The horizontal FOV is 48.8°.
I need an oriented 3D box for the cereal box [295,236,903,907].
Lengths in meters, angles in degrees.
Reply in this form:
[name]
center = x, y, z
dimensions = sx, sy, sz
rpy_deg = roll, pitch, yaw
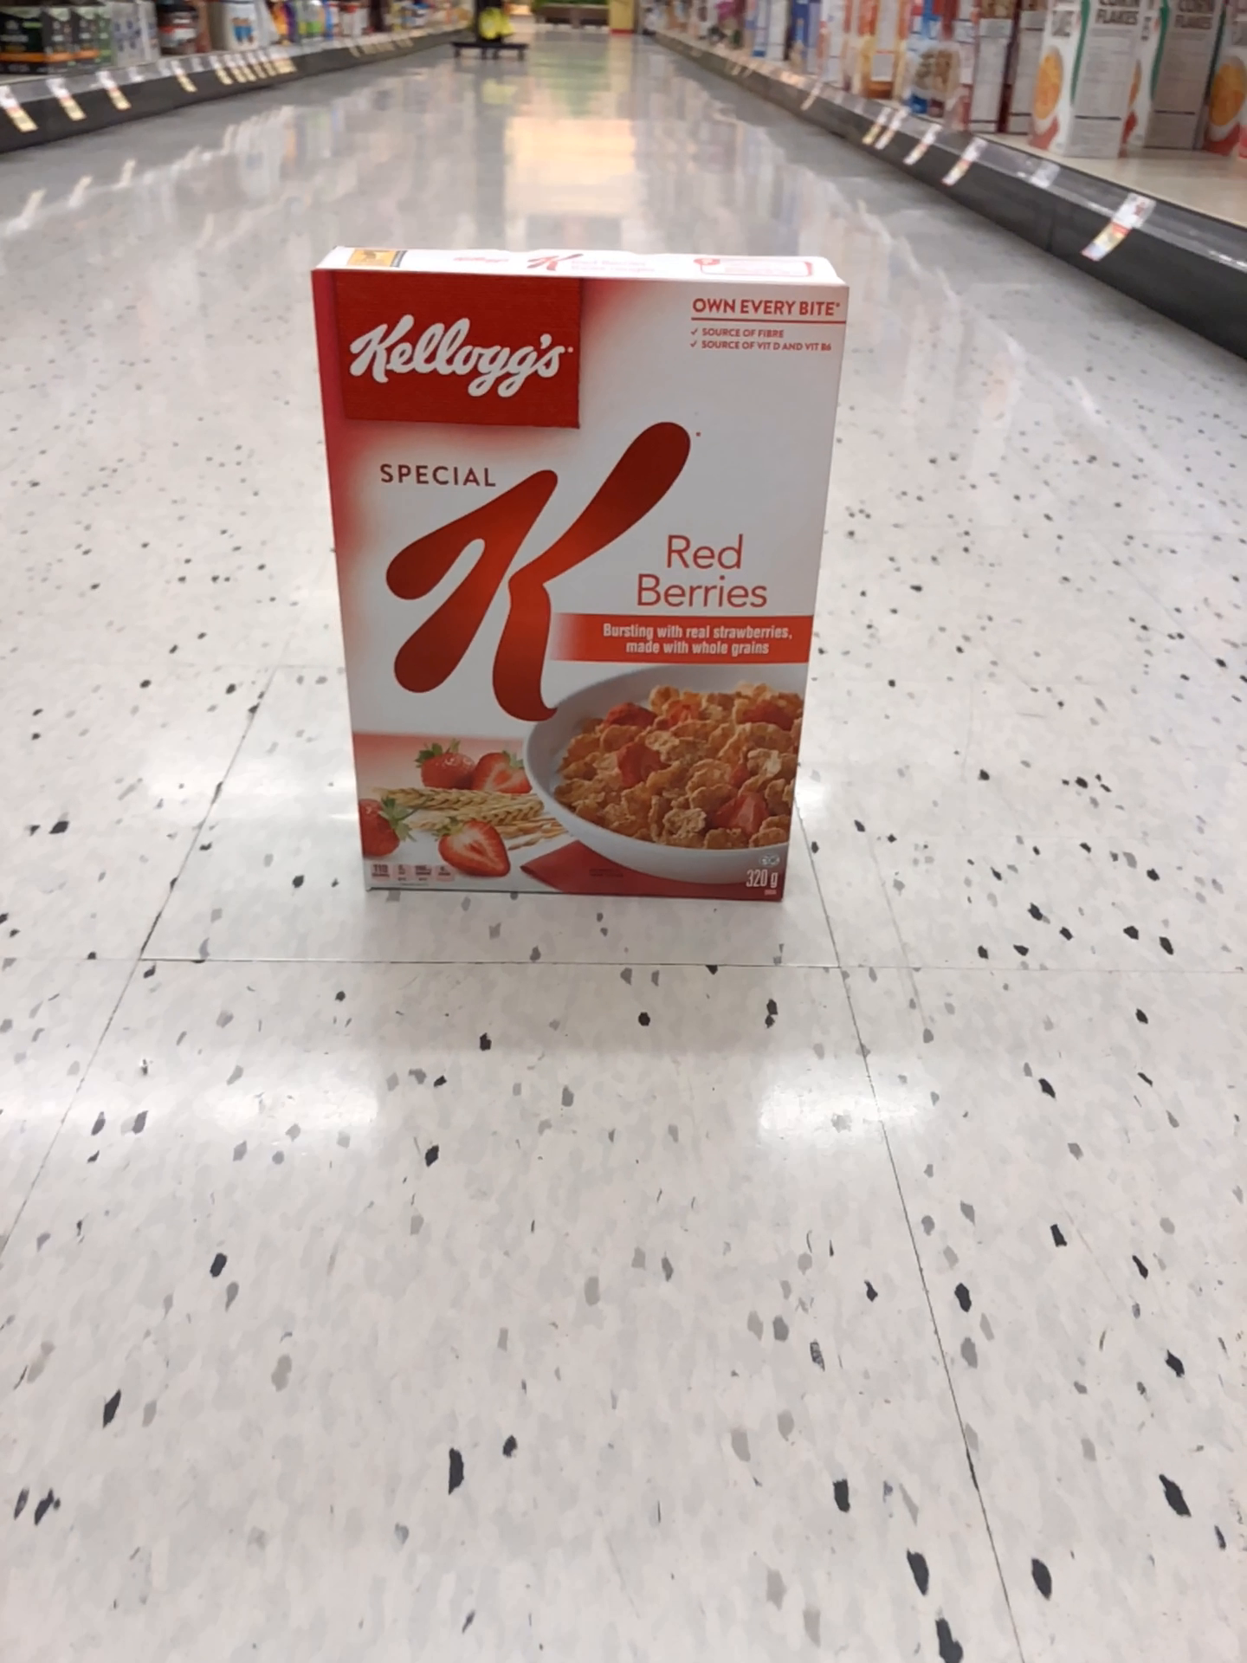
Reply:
[cereal box]
center = -0.013, -0.097, 0.565
dimensions = 0.210, 0.258, 0.060
rpy_deg = 2, 30, -1
